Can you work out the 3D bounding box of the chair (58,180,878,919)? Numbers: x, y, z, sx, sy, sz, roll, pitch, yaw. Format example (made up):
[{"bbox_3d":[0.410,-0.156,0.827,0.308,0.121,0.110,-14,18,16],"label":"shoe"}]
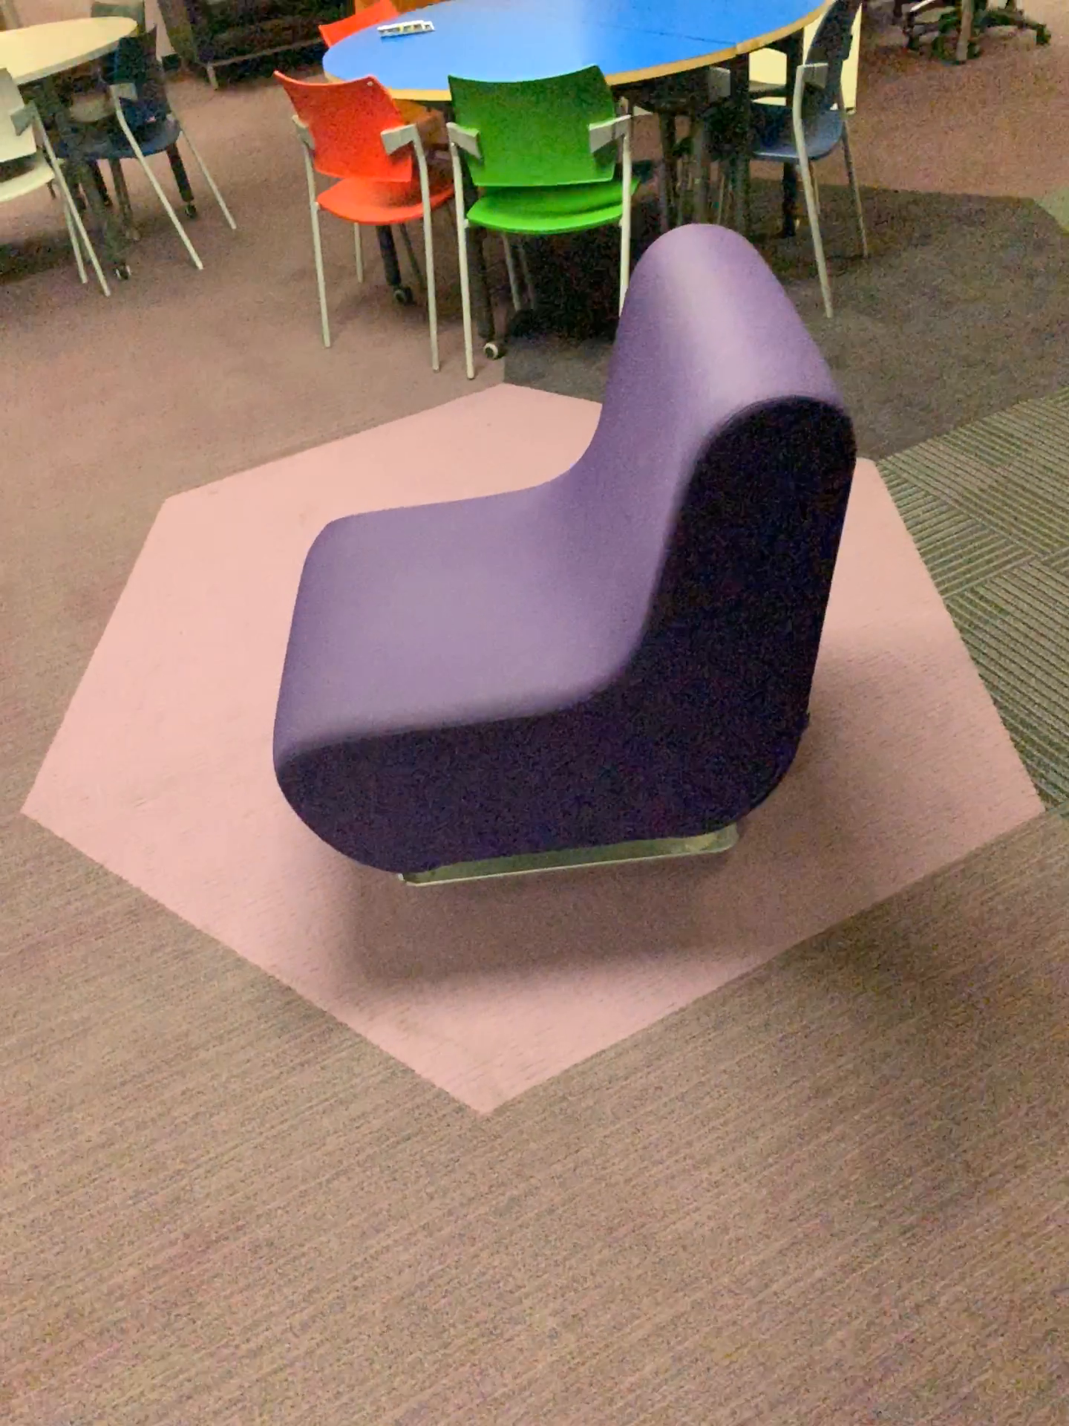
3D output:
[{"bbox_3d":[-0.055,-0.267,1.580,0.820,0.614,0.808,-8,41,2],"label":"chair"}]
